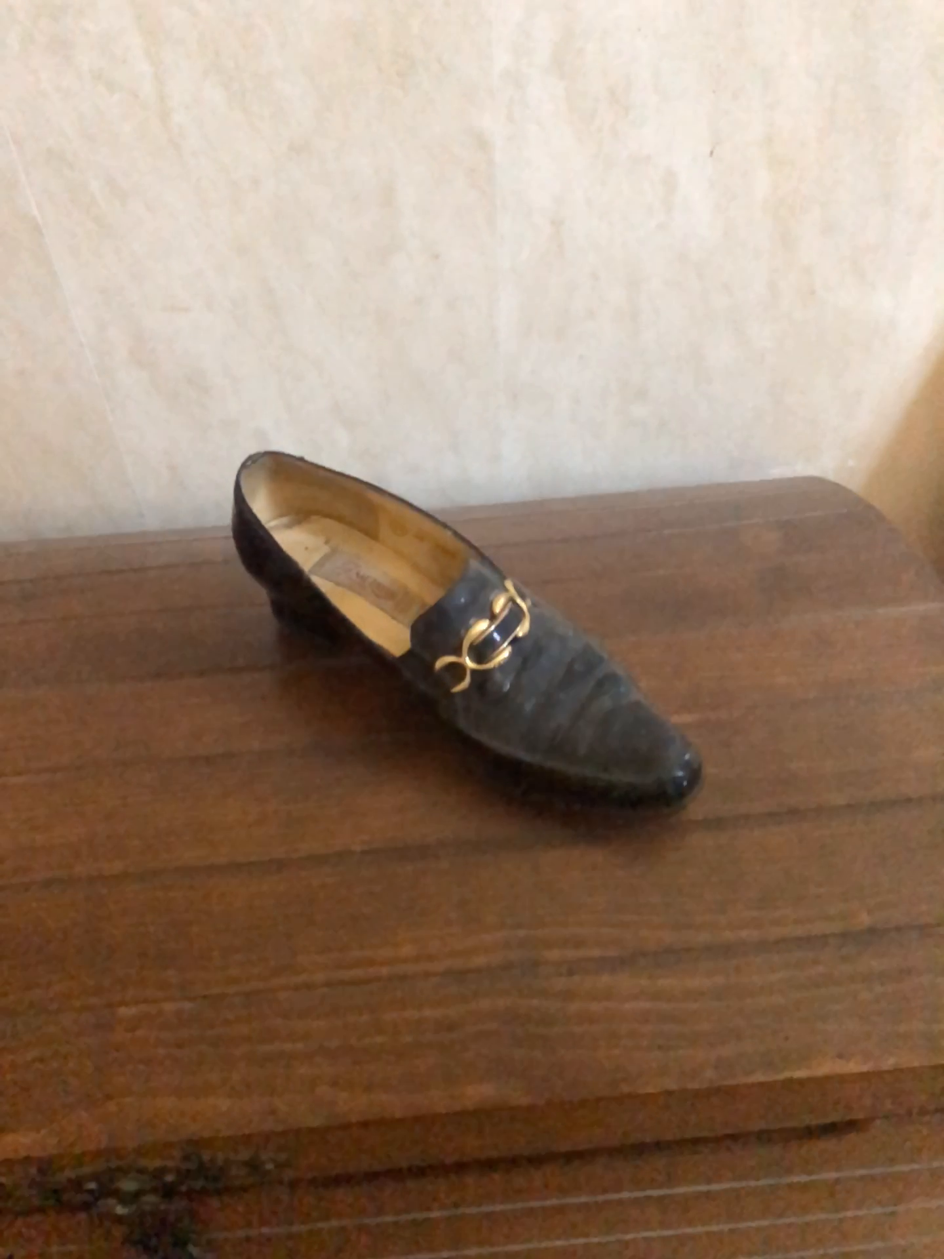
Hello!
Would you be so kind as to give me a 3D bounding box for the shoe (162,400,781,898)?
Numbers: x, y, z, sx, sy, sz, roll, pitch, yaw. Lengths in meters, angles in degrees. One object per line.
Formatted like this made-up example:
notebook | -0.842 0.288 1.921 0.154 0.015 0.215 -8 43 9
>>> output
shoe | -0.005 0.000 0.455 0.240 0.099 0.091 25 53 23
